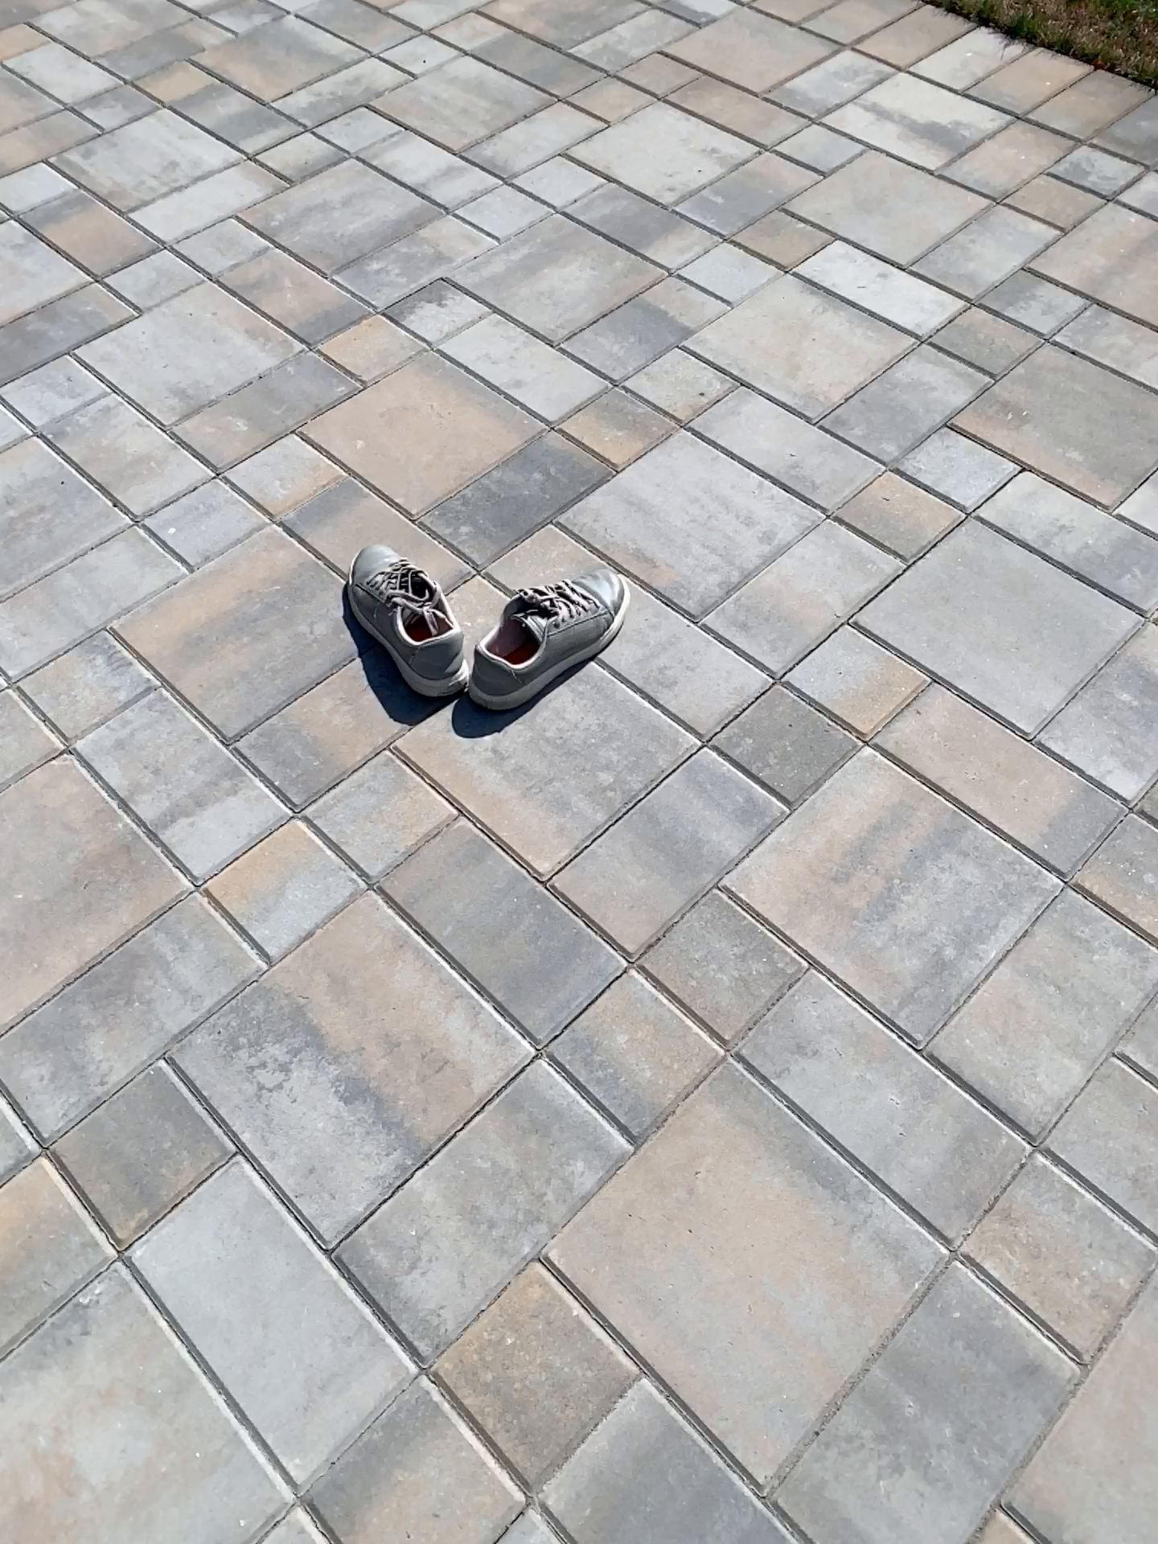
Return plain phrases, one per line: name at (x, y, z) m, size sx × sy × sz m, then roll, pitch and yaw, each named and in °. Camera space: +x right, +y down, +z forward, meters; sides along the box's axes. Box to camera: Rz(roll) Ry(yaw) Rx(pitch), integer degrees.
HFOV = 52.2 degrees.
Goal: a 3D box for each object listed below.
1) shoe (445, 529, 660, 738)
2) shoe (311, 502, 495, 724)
shoe at (-0.032, -0.196, 1.643) m, size 0.120 × 0.090 × 0.300 m, roll 37°, pitch 64°, yaw 23°
shoe at (-0.249, -0.228, 1.665) m, size 0.120 × 0.110 × 0.301 m, roll -28°, pitch 60°, yaw -17°
